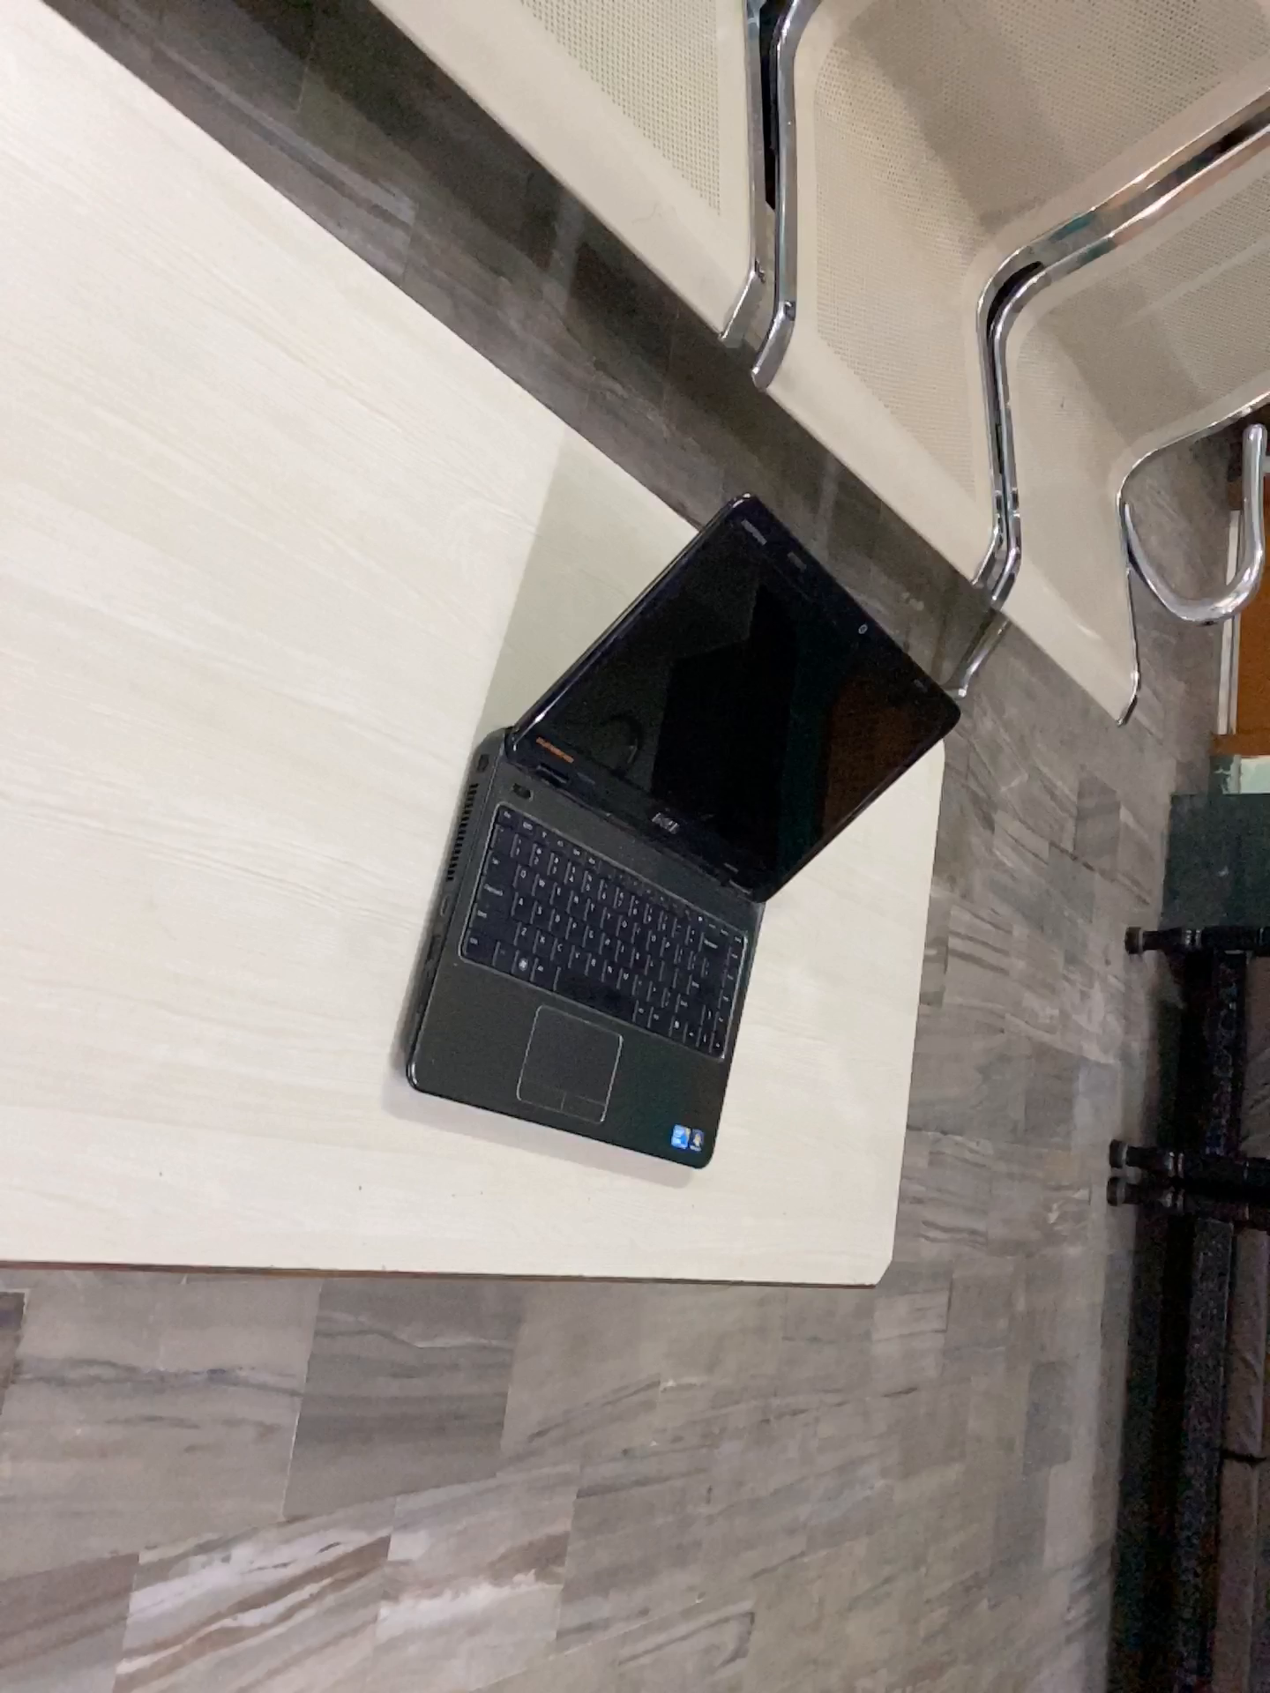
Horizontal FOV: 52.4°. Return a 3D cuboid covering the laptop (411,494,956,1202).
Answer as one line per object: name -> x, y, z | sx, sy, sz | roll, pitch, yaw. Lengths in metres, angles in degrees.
laptop -> 0.060, 0.022, 0.891 | 0.330, 0.152, 0.378 | 29, 68, -49
